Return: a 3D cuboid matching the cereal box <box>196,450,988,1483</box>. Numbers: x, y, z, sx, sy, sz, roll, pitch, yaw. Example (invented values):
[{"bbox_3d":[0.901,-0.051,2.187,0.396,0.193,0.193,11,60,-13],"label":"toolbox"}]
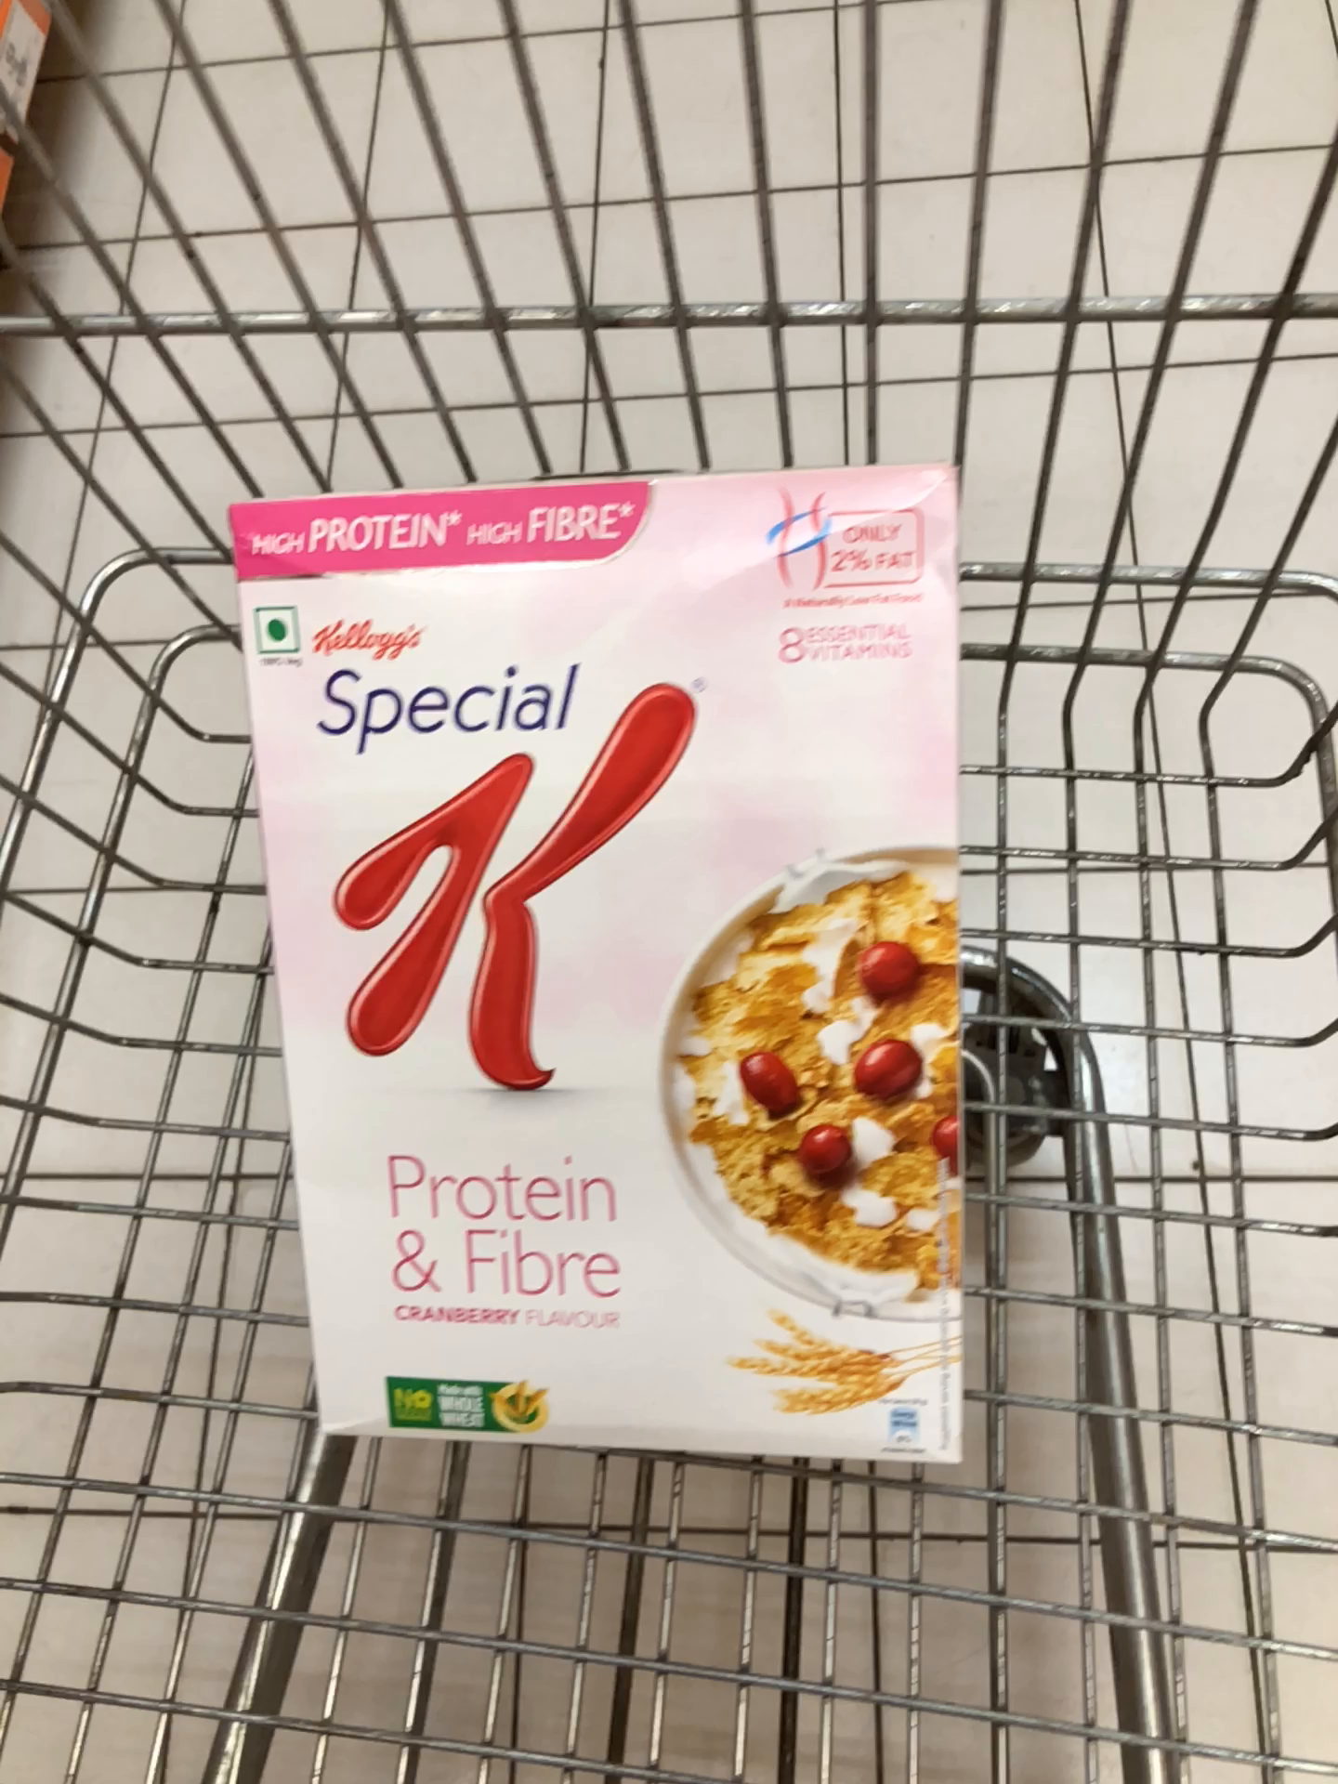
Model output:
[{"bbox_3d":[-0.011,0.018,0.431,0.190,0.100,0.270,0,104,8],"label":"cereal box"}]
